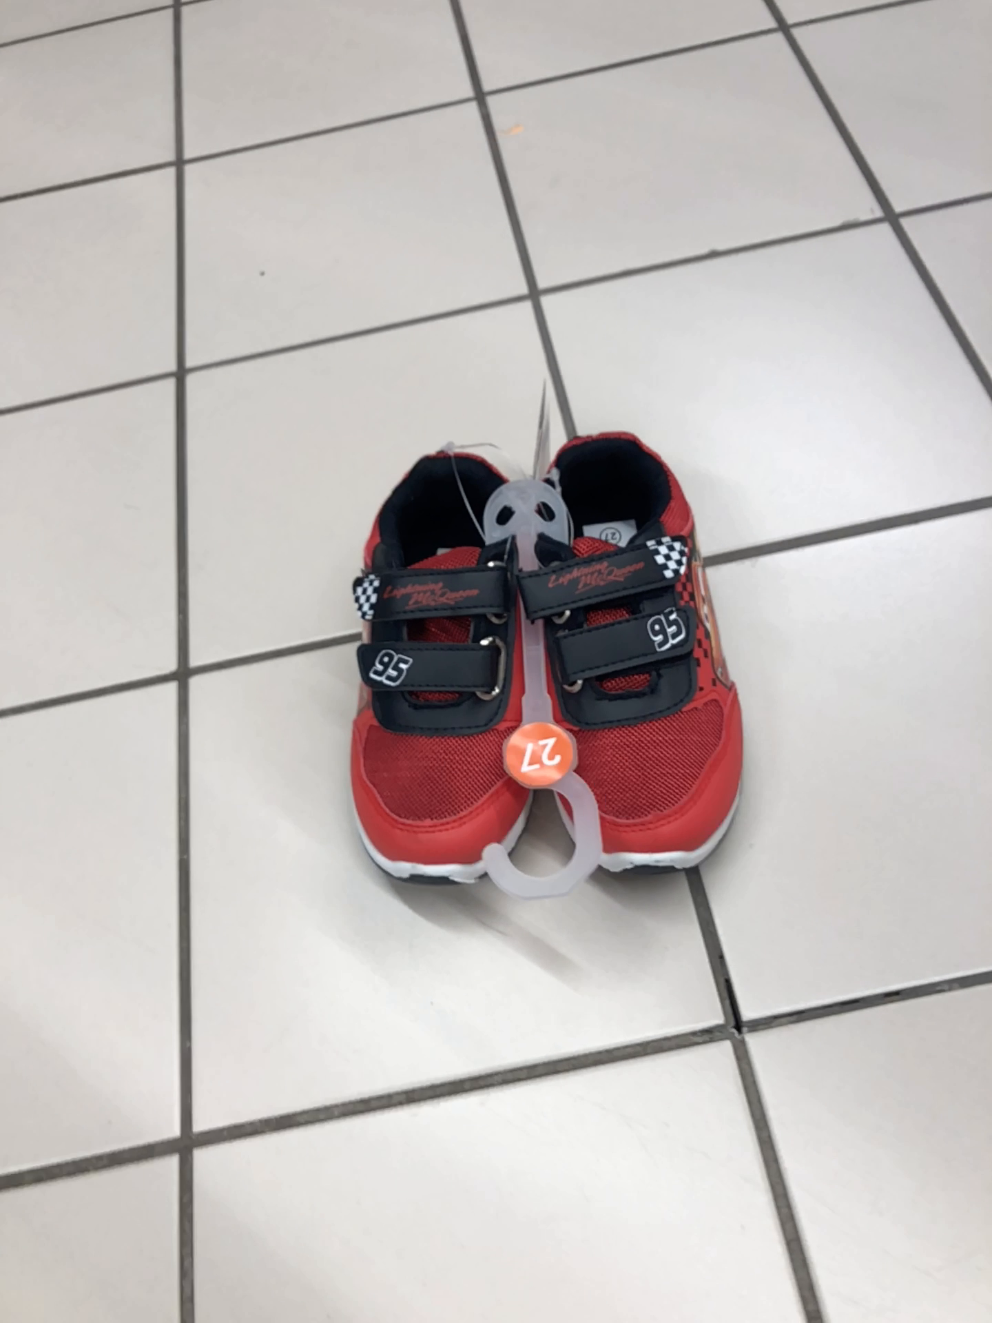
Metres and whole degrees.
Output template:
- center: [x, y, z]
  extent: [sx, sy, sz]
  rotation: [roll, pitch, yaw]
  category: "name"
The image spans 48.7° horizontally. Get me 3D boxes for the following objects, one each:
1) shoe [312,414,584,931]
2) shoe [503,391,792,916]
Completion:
- center: [-0.017, 0.000, 0.448]
  extent: [0.087, 0.073, 0.195]
  rotation: [-5, 58, 5]
  category: "shoe"
- center: [0.054, -0.007, 0.441]
  extent: [0.087, 0.074, 0.195]
  rotation: [-5, 58, 5]
  category: "shoe"
